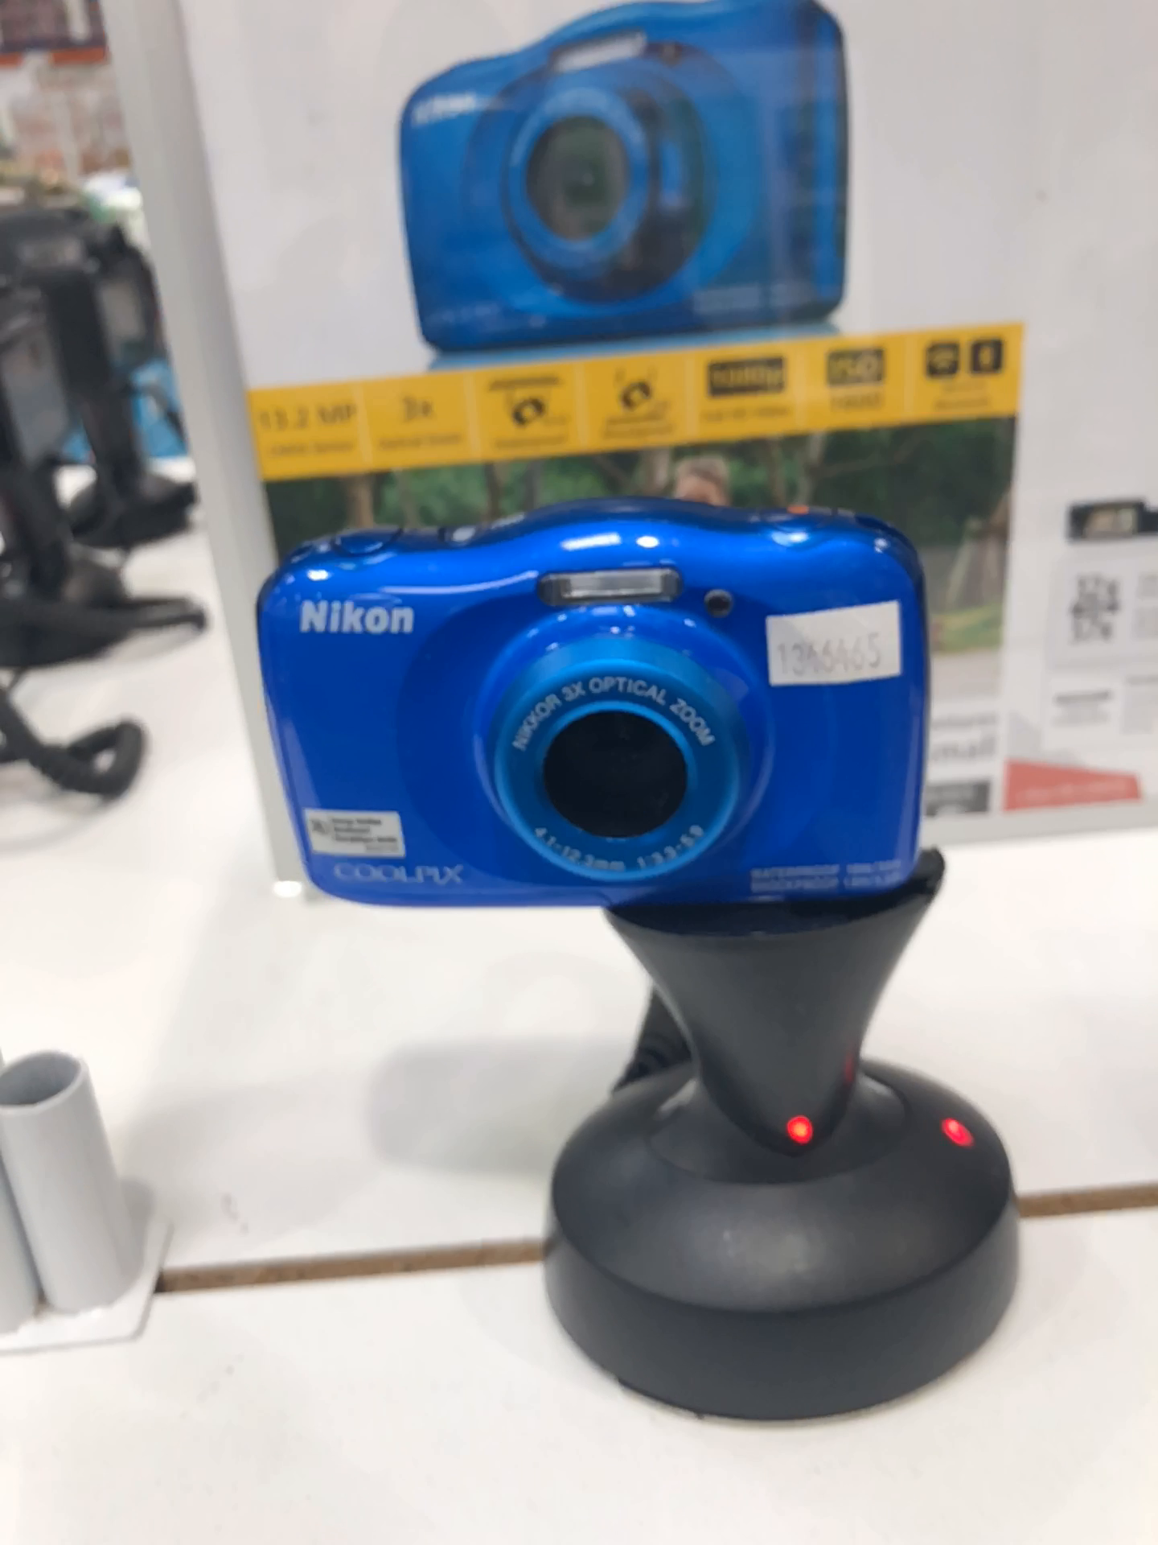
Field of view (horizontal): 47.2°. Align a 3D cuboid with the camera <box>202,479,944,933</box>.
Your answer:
[{"bbox_3d":[0.001,-0.012,0.227,0.110,0.060,0.040,-3,26,3],"label":"camera"}]
